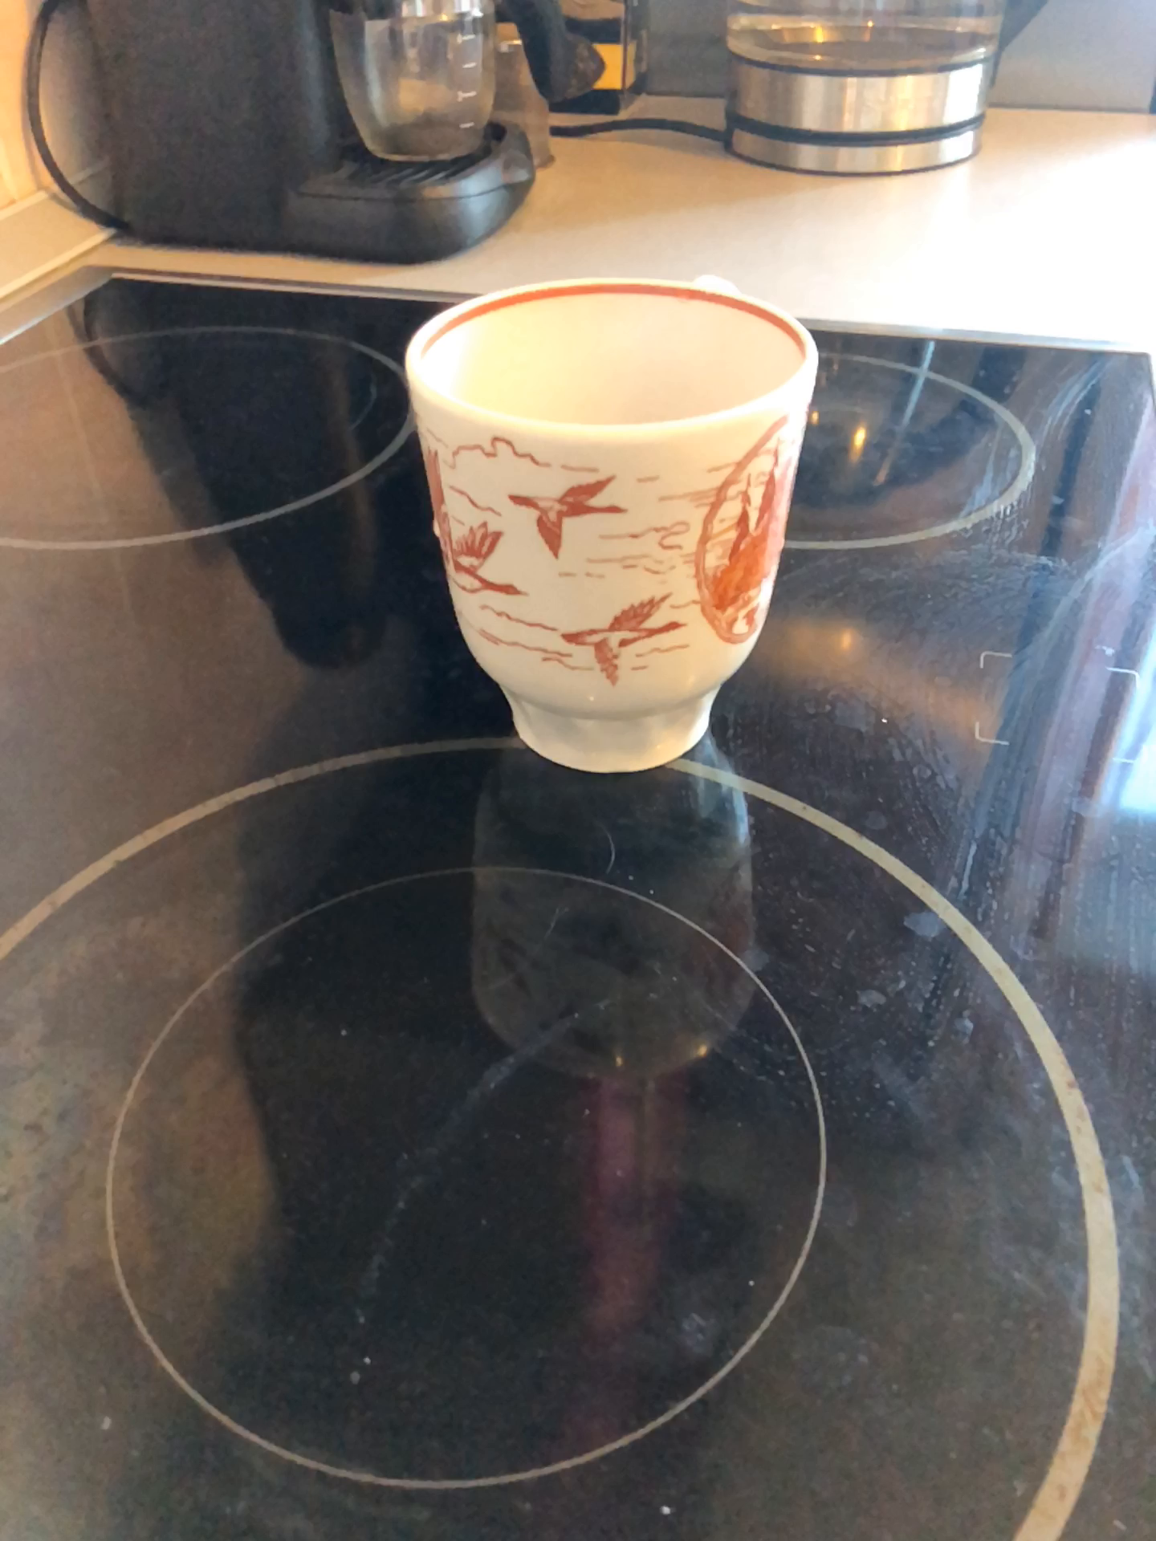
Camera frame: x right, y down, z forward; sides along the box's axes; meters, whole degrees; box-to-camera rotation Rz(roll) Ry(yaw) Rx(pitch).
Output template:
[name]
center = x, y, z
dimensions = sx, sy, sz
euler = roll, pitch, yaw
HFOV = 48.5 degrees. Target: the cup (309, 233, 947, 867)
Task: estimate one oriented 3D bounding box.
[cup]
center = 0.016, -0.061, 0.309
dimensions = 0.090, 0.090, 0.120
euler = 22, 44, 26
